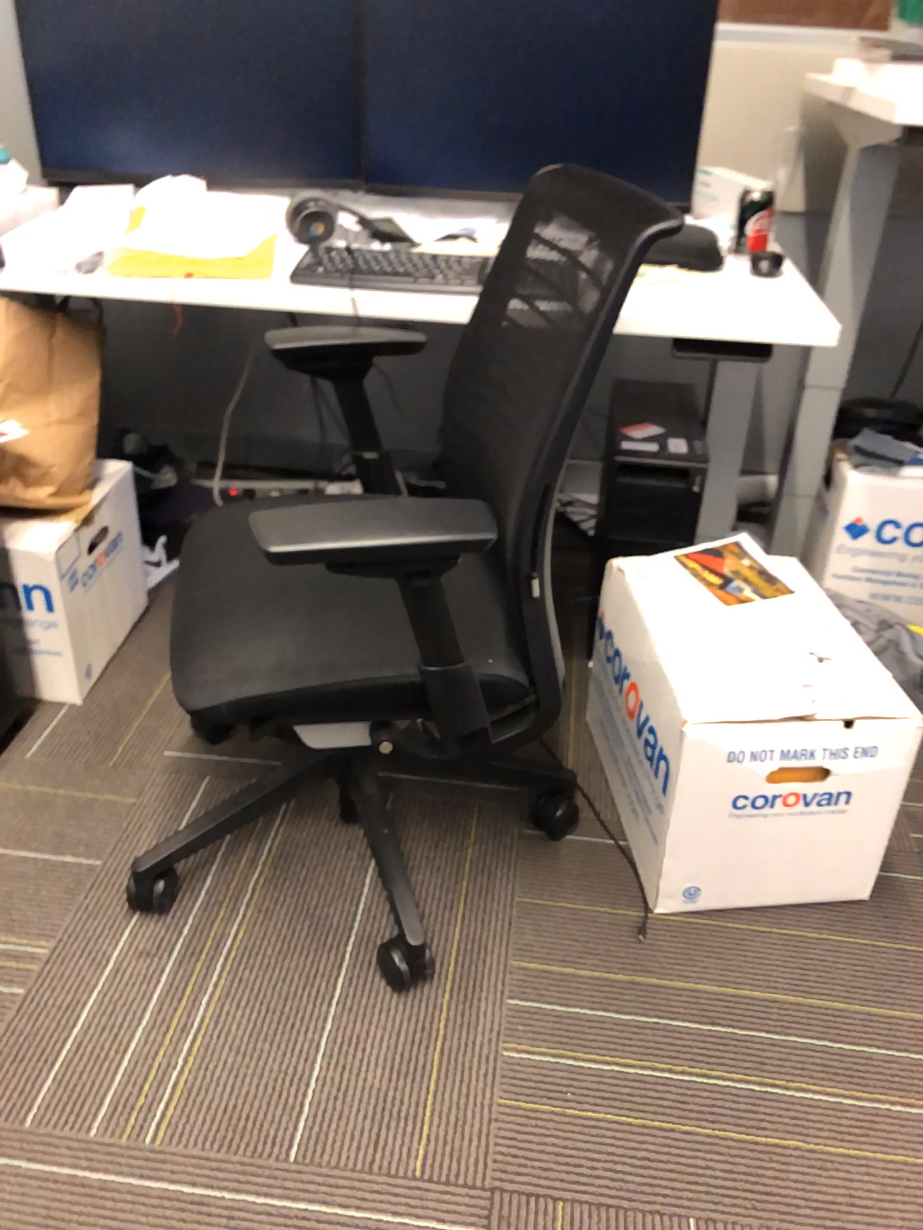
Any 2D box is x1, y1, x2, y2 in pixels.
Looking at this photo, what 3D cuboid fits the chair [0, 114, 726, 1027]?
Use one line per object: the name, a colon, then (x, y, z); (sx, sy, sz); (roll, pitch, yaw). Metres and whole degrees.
chair: (-0.160, -0.102, 1.337); (0.610, 0.935, 0.674); (-5, 31, -12)
